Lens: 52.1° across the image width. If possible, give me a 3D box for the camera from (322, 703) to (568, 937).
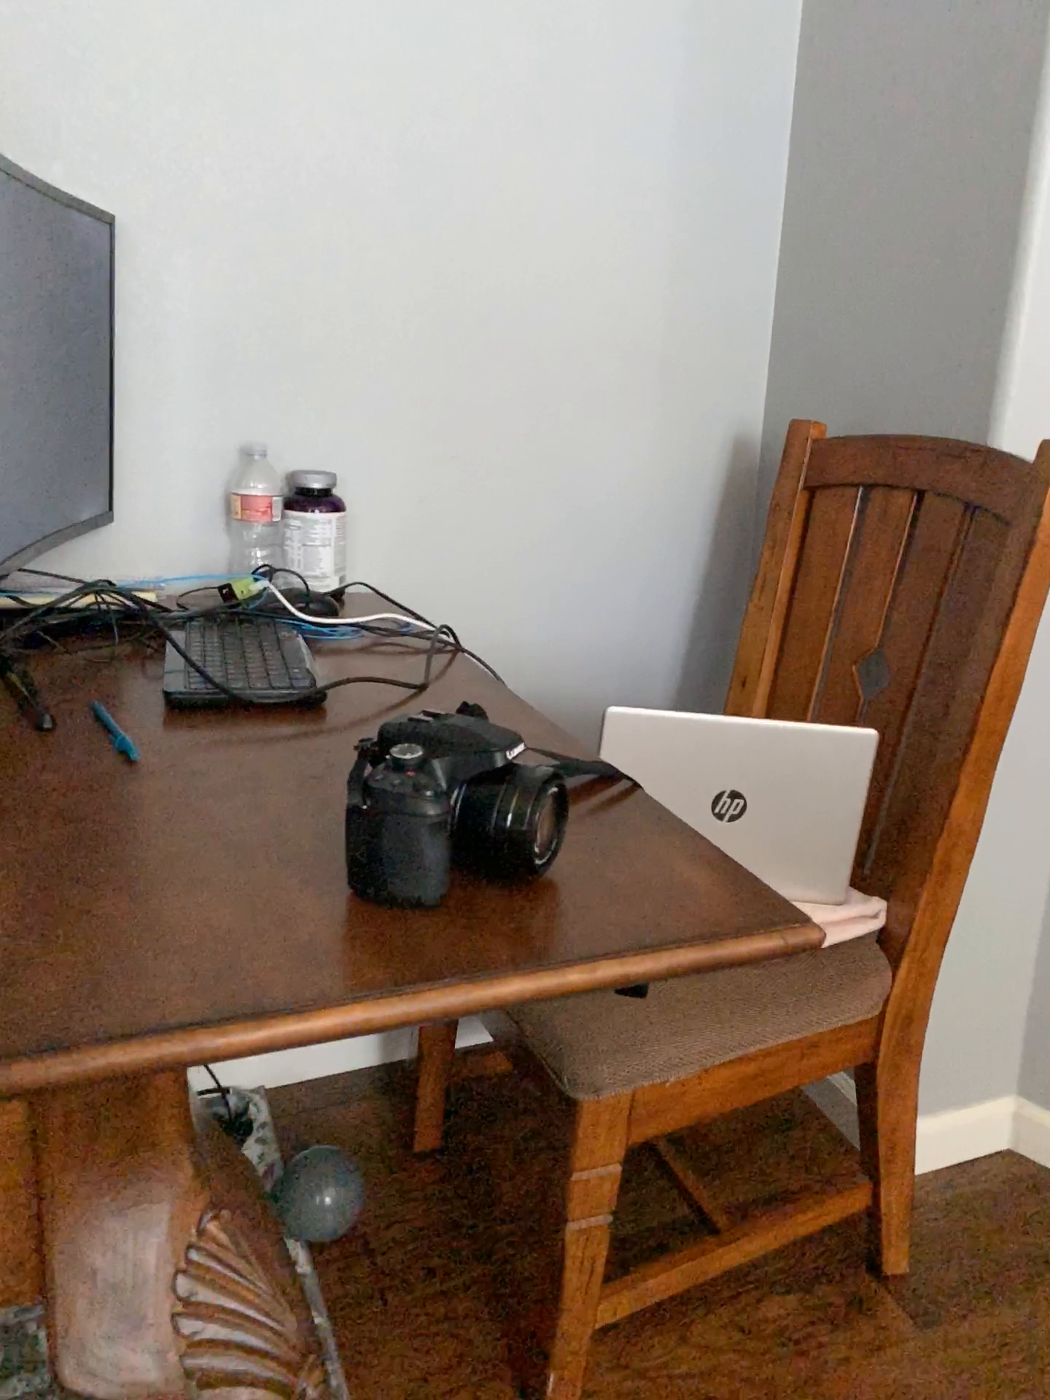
[{"bbox_3d":[-0.048,0.071,0.696,0.110,0.089,0.131,9,18,21],"label":"camera"}]
